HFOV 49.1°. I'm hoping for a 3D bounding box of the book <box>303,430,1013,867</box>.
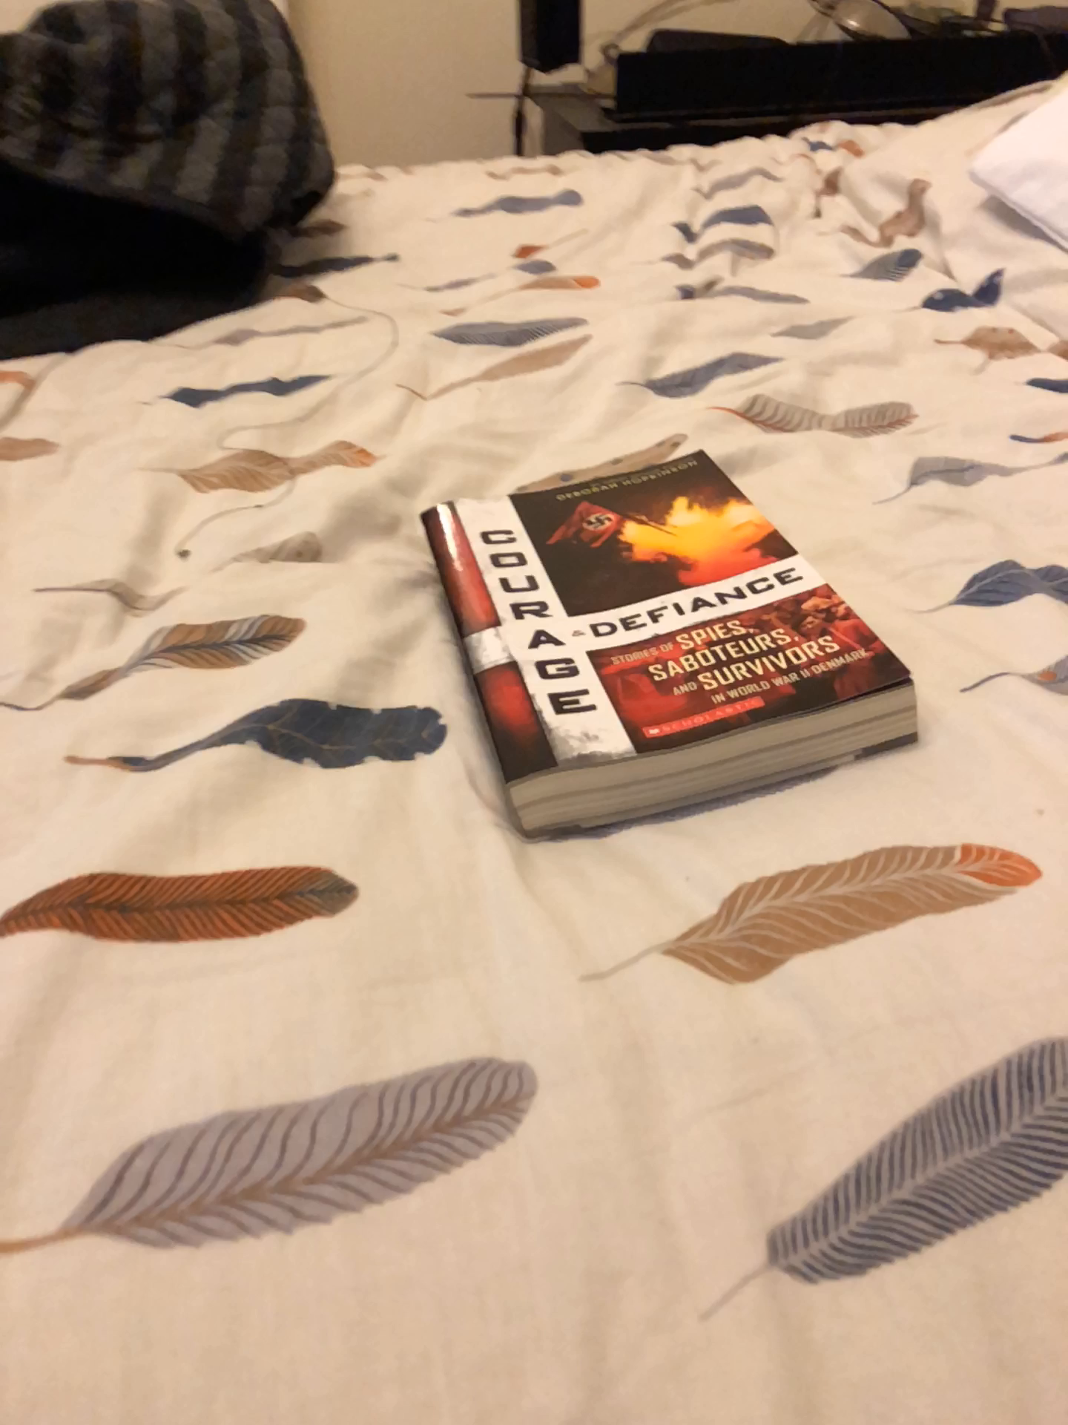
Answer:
[{"bbox_3d":[0.026,-0.044,0.446,0.200,0.020,0.231,-9,37,-12],"label":"book"}]
